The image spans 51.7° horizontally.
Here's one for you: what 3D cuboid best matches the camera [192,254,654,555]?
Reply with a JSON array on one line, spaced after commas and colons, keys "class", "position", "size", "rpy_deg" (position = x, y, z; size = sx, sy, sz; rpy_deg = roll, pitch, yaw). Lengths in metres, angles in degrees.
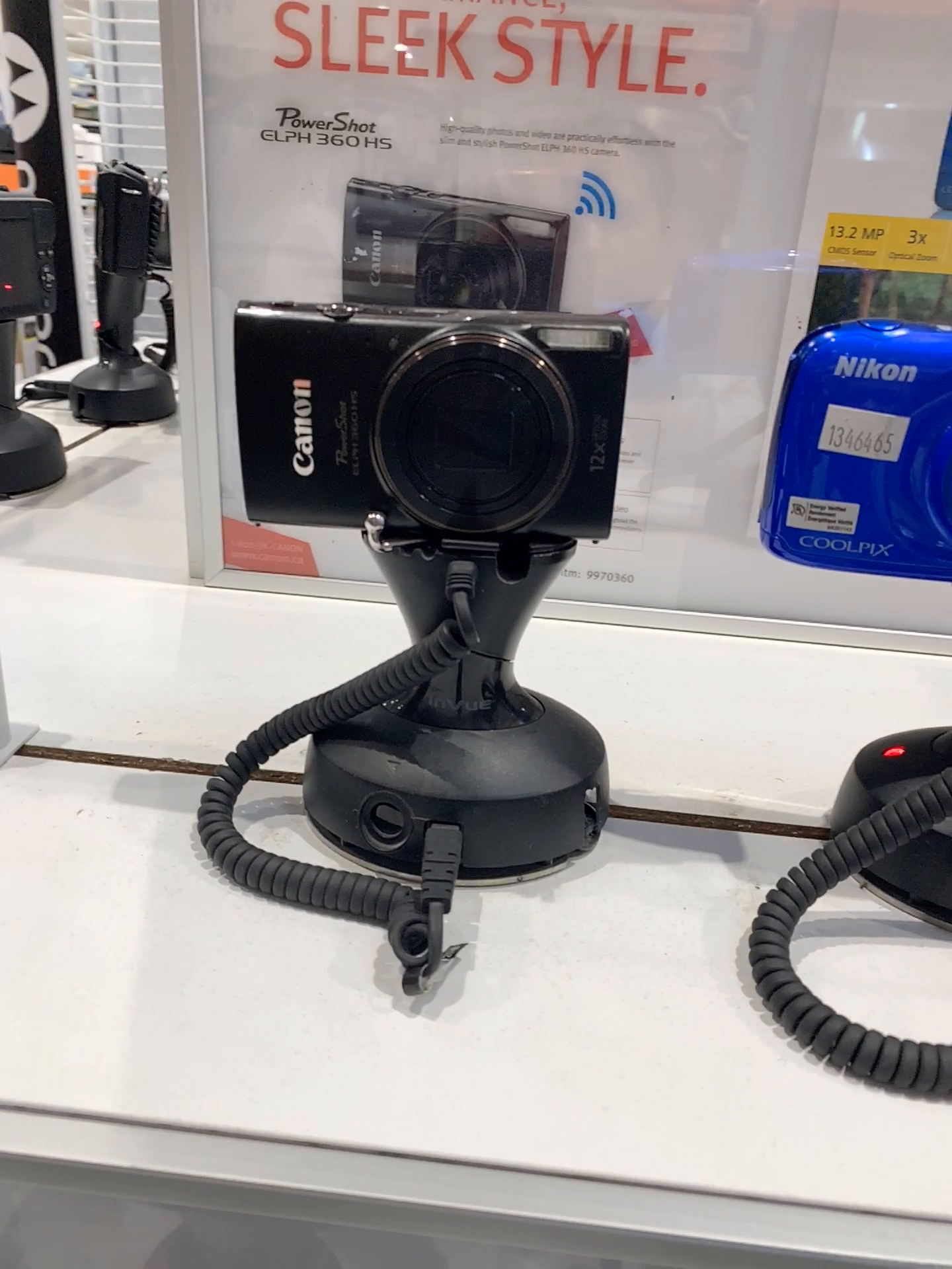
[{"class": "camera", "position": [-0.013, -0.058, 0.243], "size": [0.100, 0.060, 0.040], "rpy_deg": [3, 23, -2]}]
